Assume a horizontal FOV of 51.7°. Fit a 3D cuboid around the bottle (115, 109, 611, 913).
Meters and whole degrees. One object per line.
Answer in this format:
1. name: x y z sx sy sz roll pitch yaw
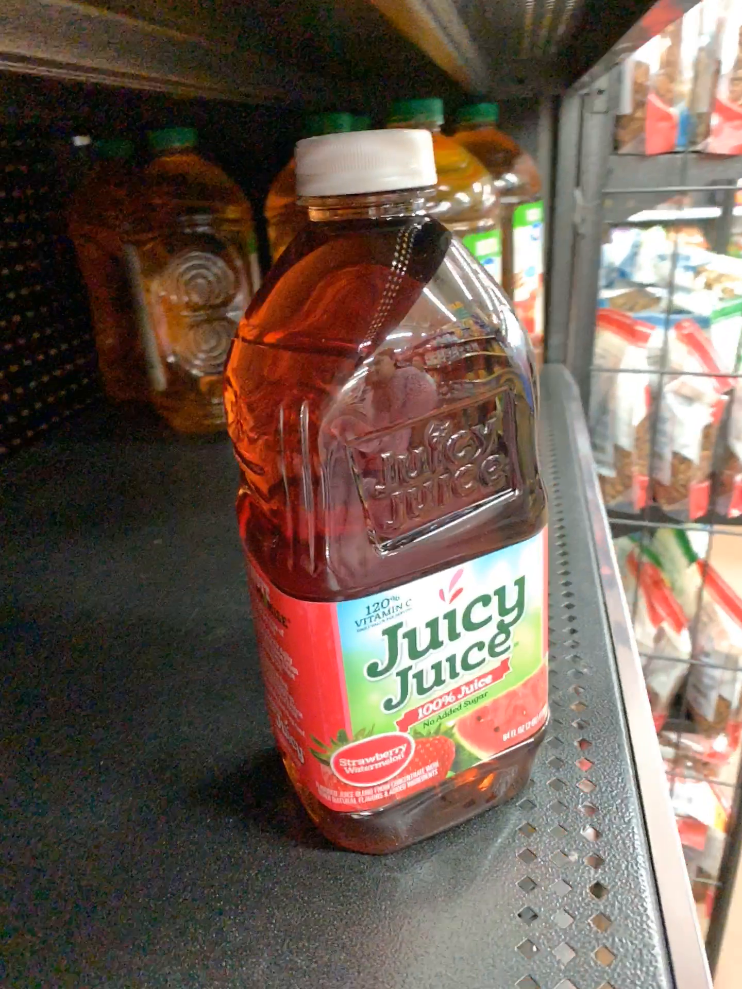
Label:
1. bottle: 0.002 0.003 0.287 0.125 0.255 0.090 -16 27 -25
